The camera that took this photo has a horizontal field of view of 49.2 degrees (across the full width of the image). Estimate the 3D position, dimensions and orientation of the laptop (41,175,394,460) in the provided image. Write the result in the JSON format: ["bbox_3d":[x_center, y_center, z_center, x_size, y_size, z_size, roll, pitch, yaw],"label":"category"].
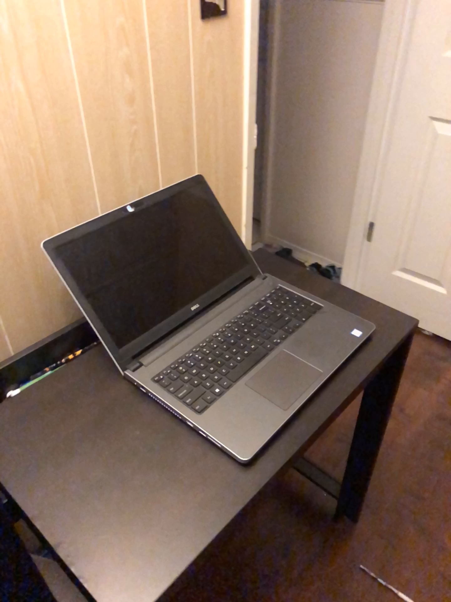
[{"bbox_3d":[-0.014,-0.022,0.835,0.427,0.172,0.369,27,45,32],"label":"laptop"}]
